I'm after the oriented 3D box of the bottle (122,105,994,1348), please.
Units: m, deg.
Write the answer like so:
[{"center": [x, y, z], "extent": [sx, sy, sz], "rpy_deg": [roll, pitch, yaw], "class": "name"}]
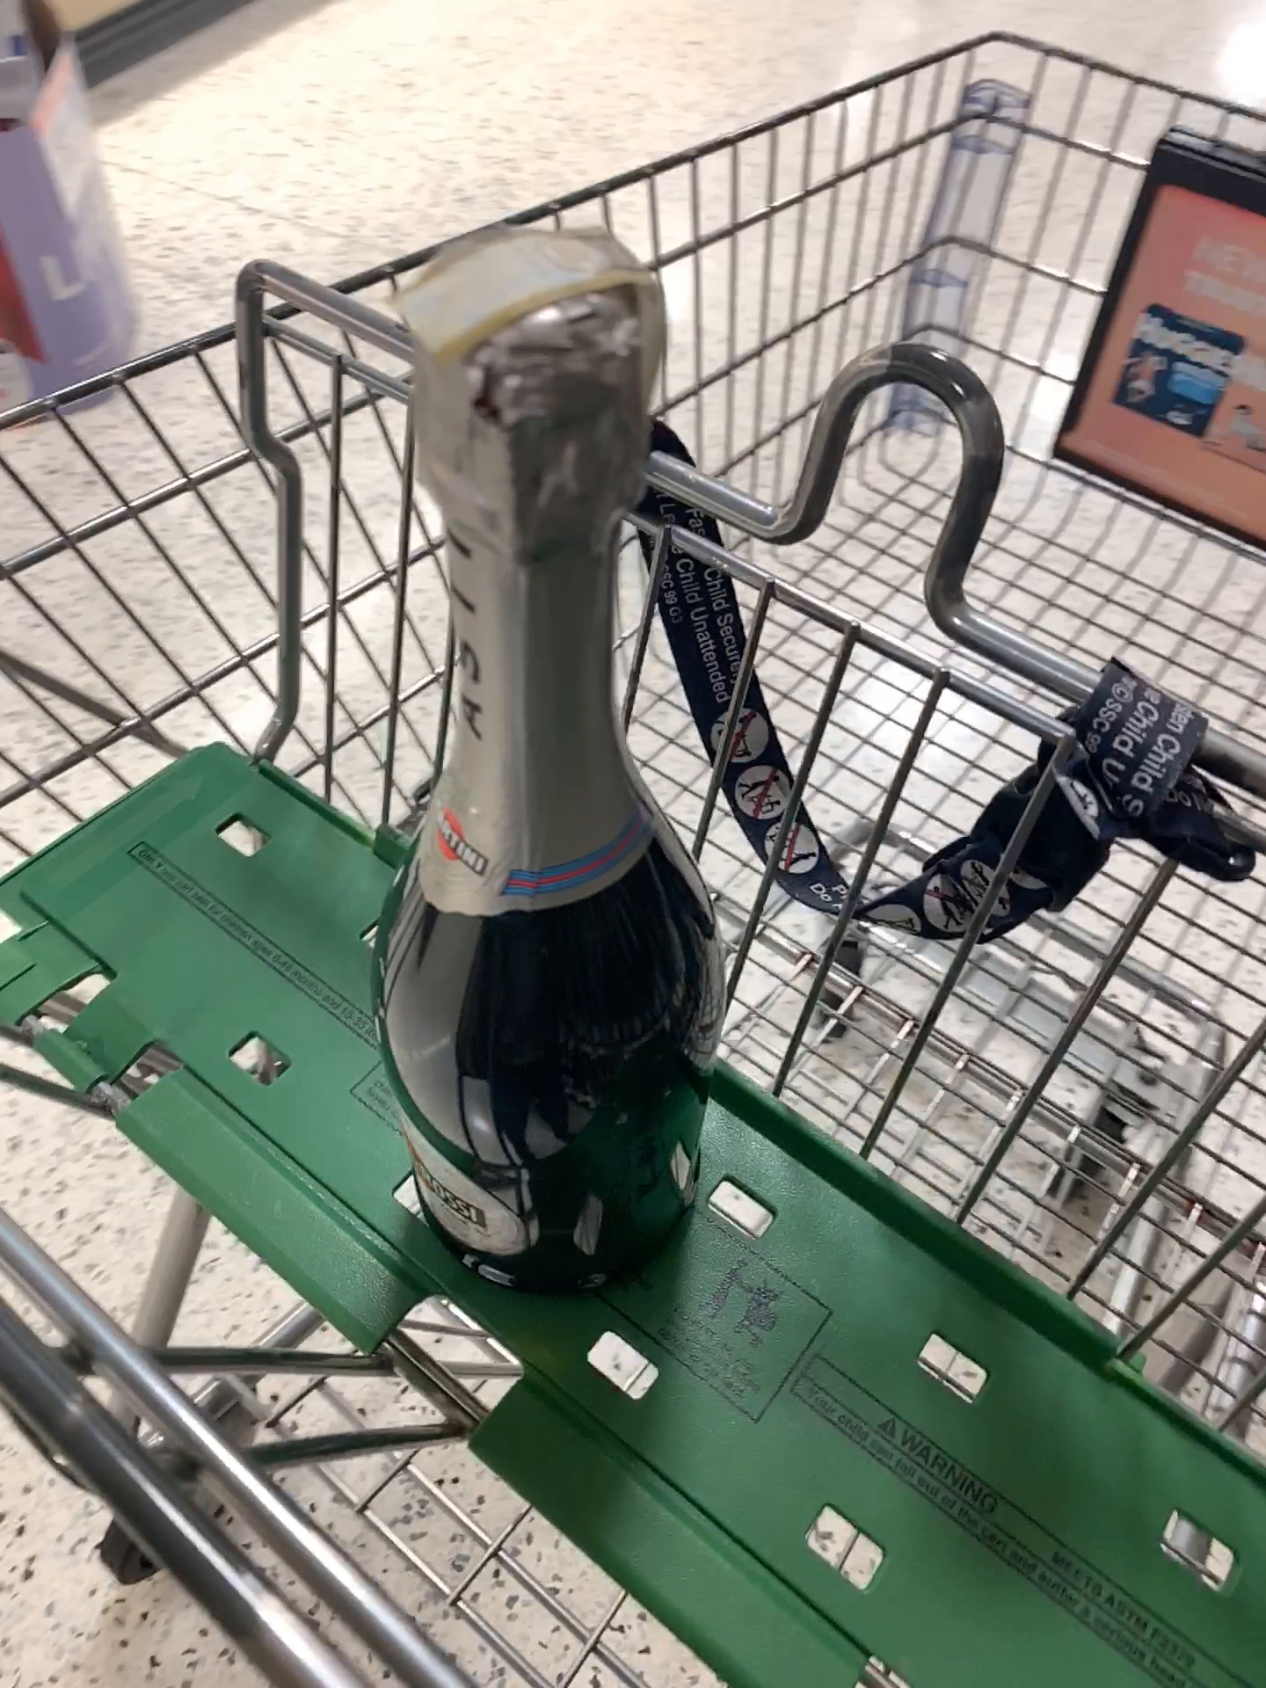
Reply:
[{"center": [-0.020, 0.005, 0.310], "extent": [0.100, 0.287, 0.101], "rpy_deg": [1, 51, -1], "class": "bottle"}]
